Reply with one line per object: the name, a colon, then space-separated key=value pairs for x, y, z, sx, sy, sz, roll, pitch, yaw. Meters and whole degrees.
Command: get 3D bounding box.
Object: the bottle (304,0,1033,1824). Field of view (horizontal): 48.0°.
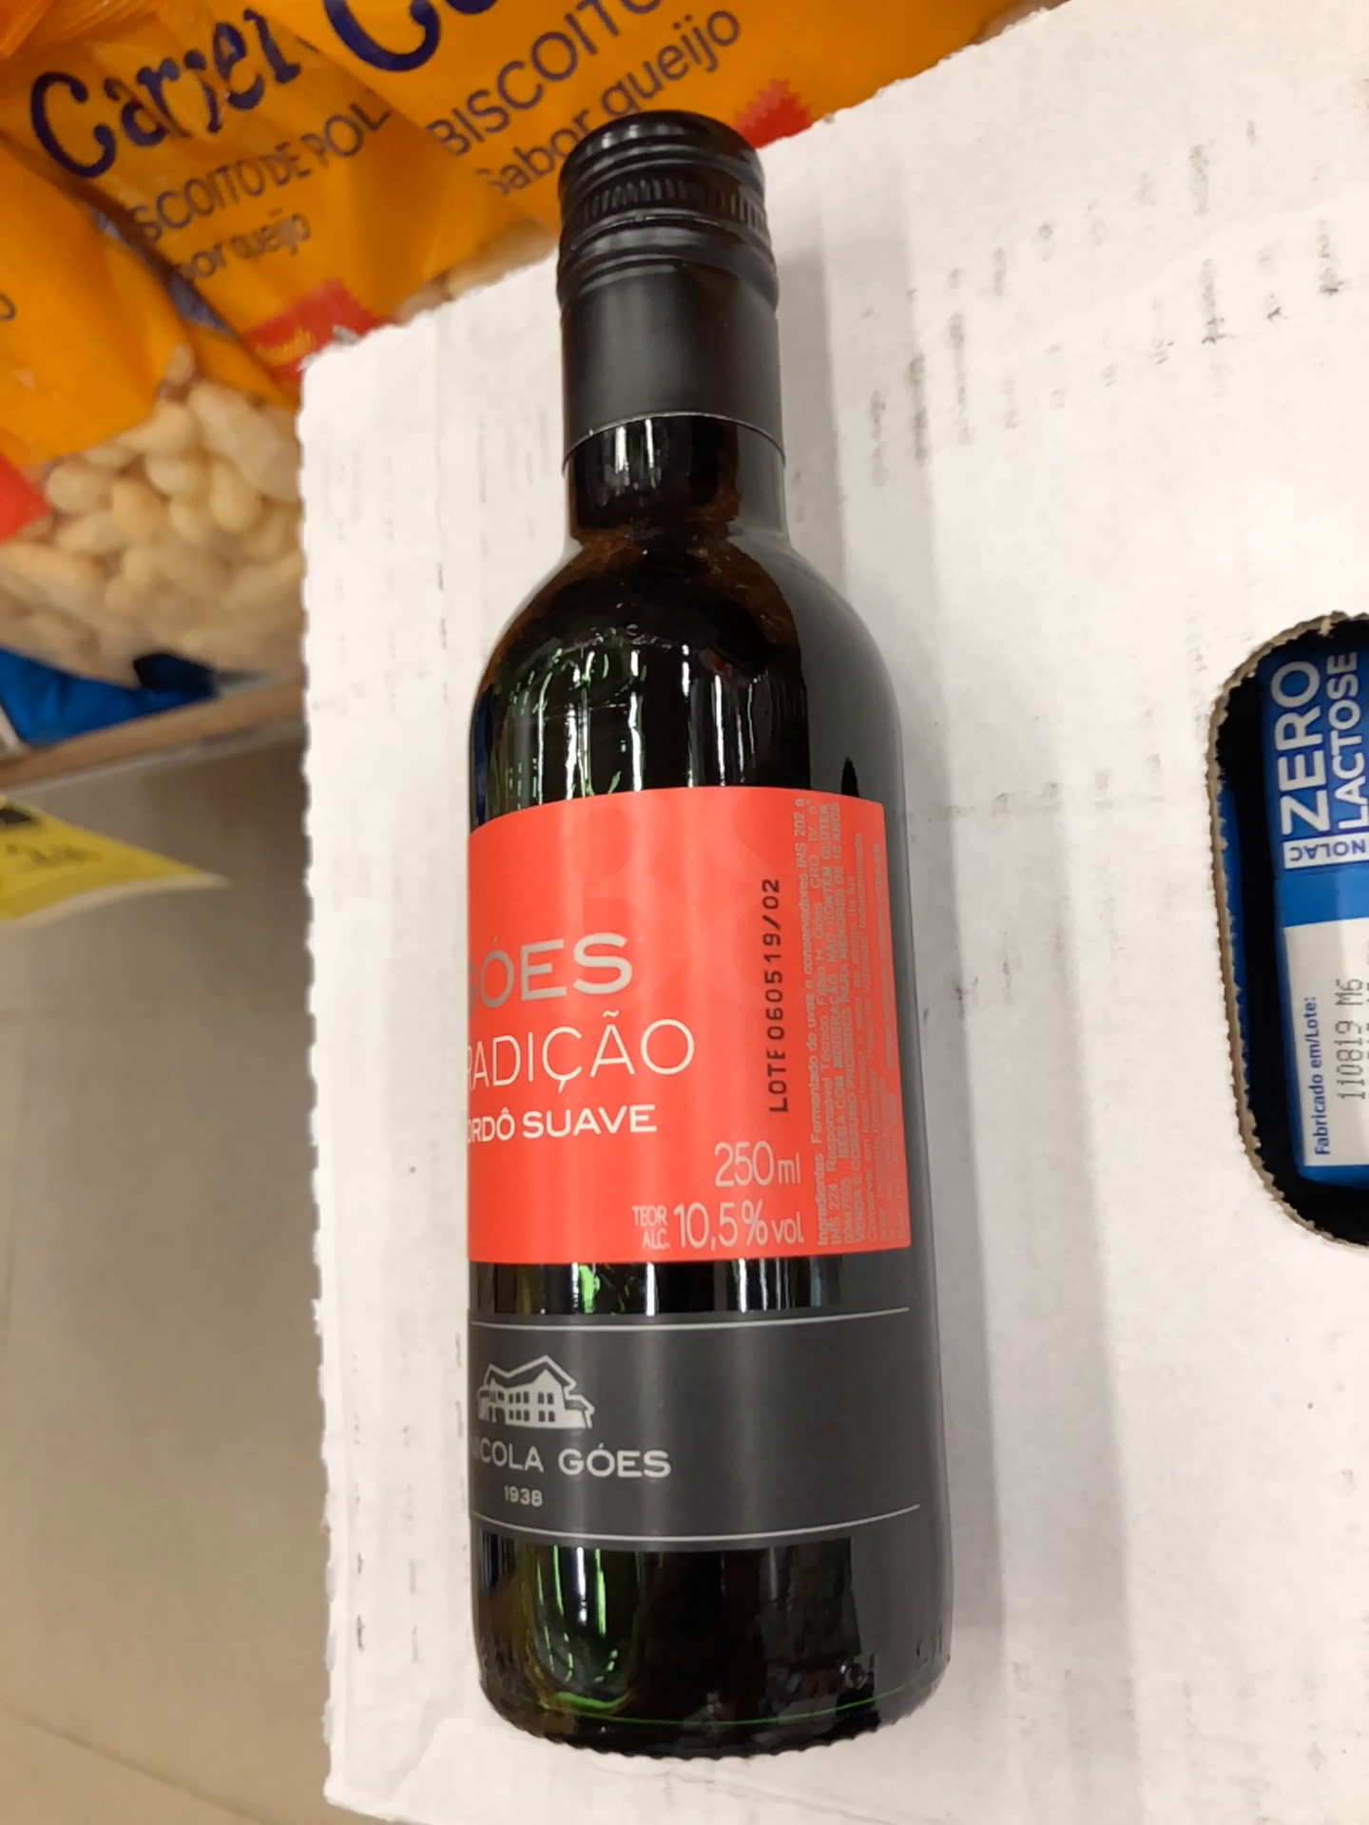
bottle: x=-0.003 y=-0.010 z=0.182 sx=0.060 sy=0.050 sz=0.210 roll=-9 pitch=78 yaw=37
